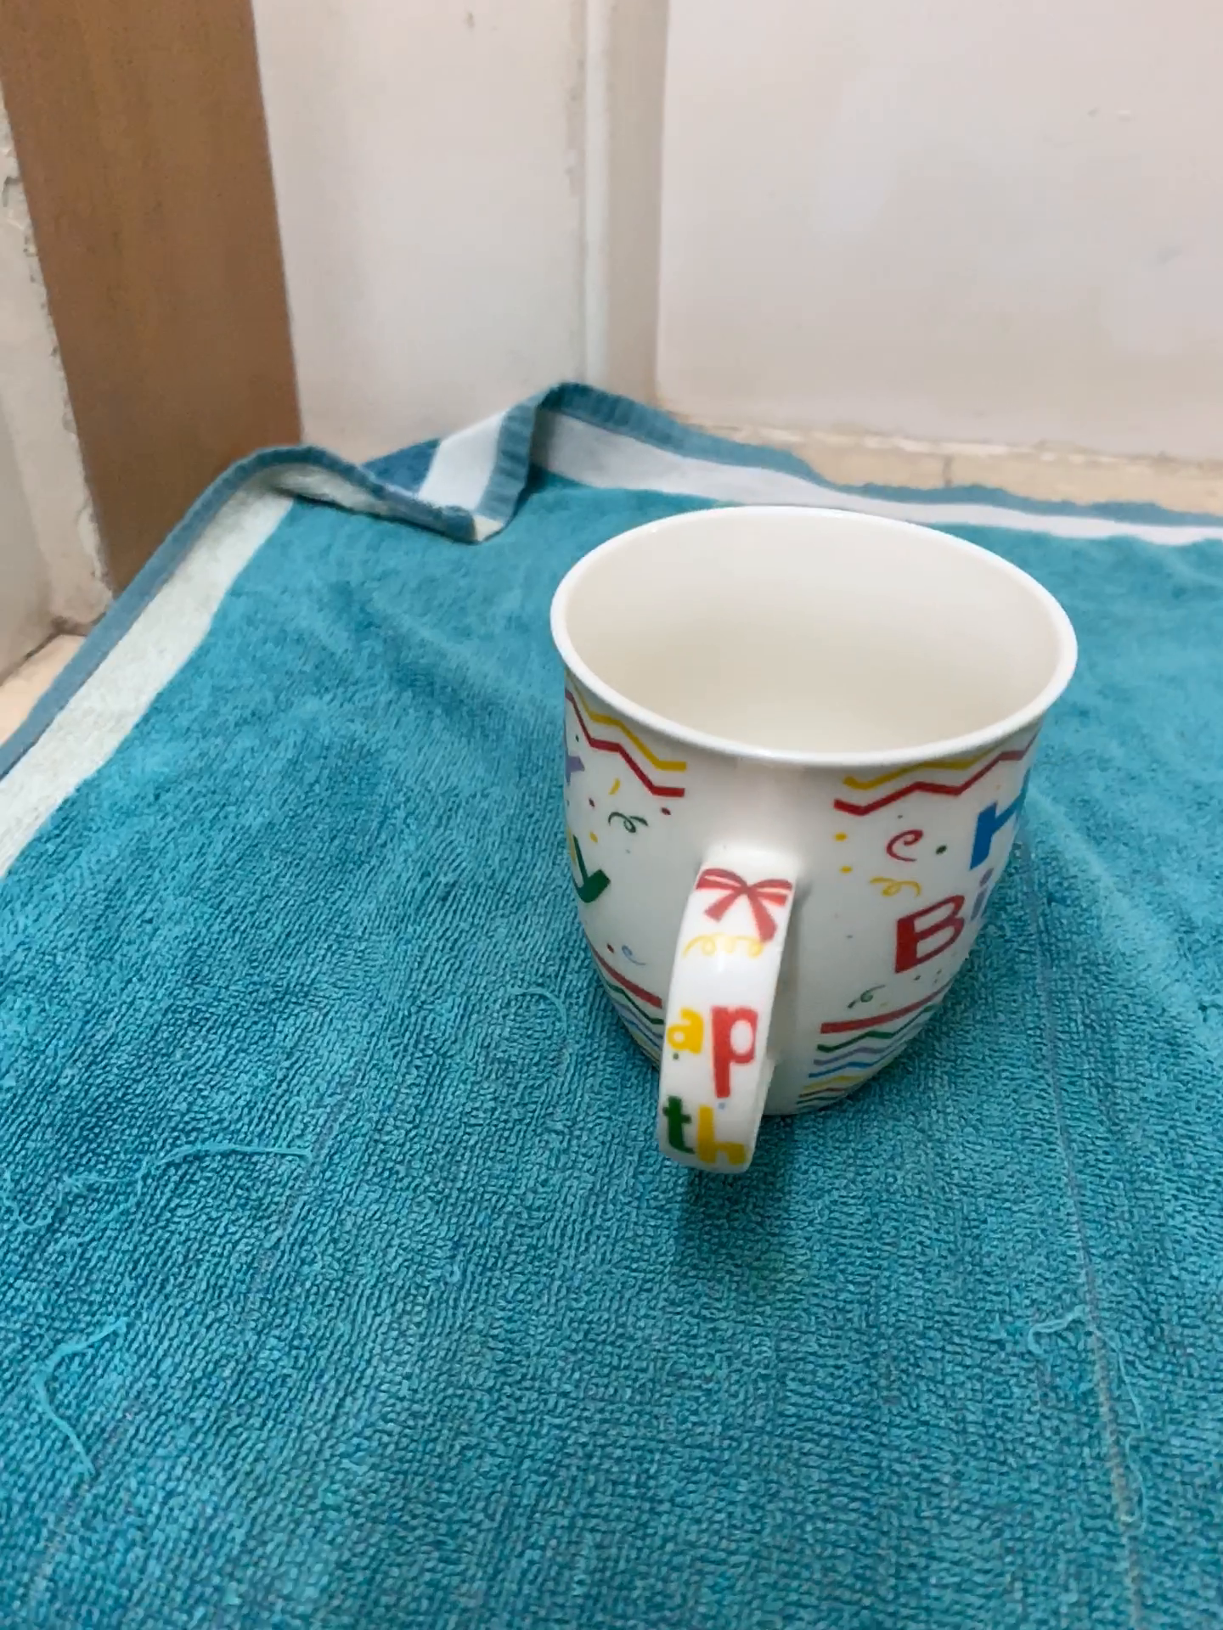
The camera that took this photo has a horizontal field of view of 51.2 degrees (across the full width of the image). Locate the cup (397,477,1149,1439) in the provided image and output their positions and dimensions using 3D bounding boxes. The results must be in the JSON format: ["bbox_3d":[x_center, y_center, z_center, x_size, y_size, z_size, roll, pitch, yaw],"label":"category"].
[{"bbox_3d":[0.031,0.014,0.232,0.090,0.099,0.131,9,36,10],"label":"cup"}]
